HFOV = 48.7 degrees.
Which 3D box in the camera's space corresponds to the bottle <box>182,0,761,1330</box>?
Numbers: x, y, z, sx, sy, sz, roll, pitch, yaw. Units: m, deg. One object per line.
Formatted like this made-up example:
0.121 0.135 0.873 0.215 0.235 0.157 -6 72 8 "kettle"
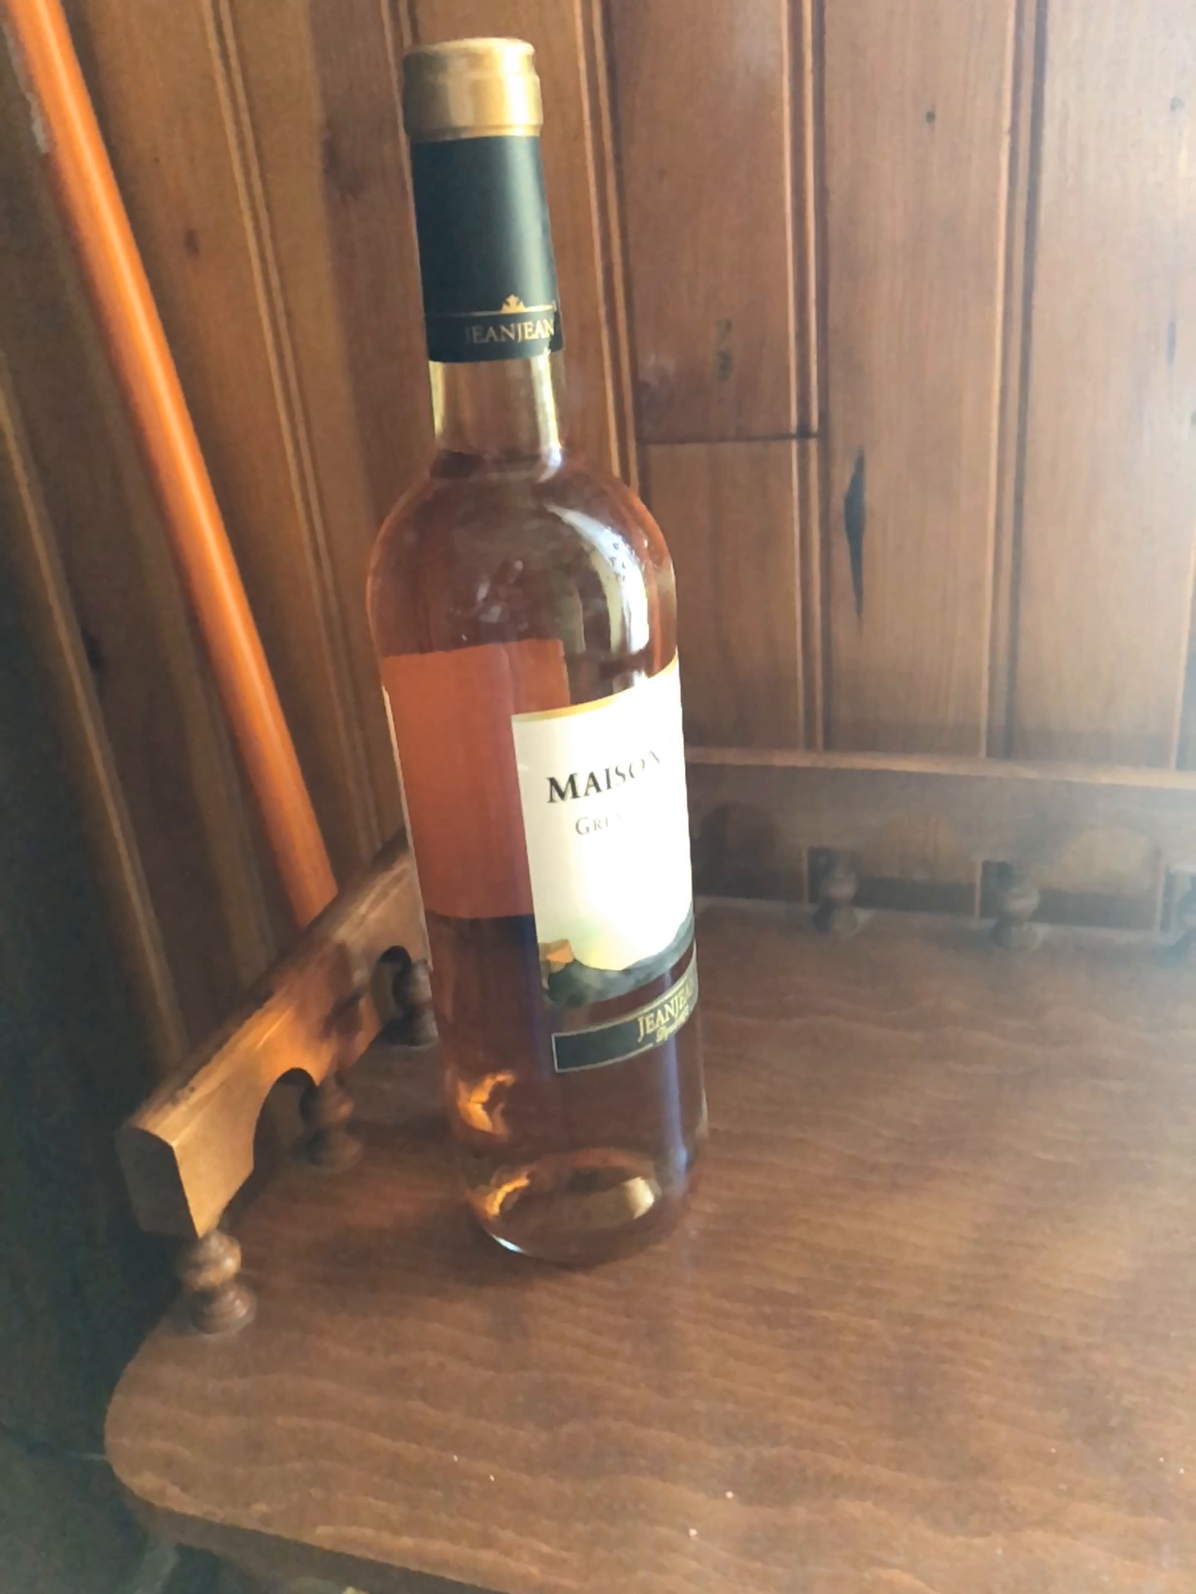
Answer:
-0.015 -0.019 0.317 0.070 0.288 0.080 12 30 32 "bottle"
